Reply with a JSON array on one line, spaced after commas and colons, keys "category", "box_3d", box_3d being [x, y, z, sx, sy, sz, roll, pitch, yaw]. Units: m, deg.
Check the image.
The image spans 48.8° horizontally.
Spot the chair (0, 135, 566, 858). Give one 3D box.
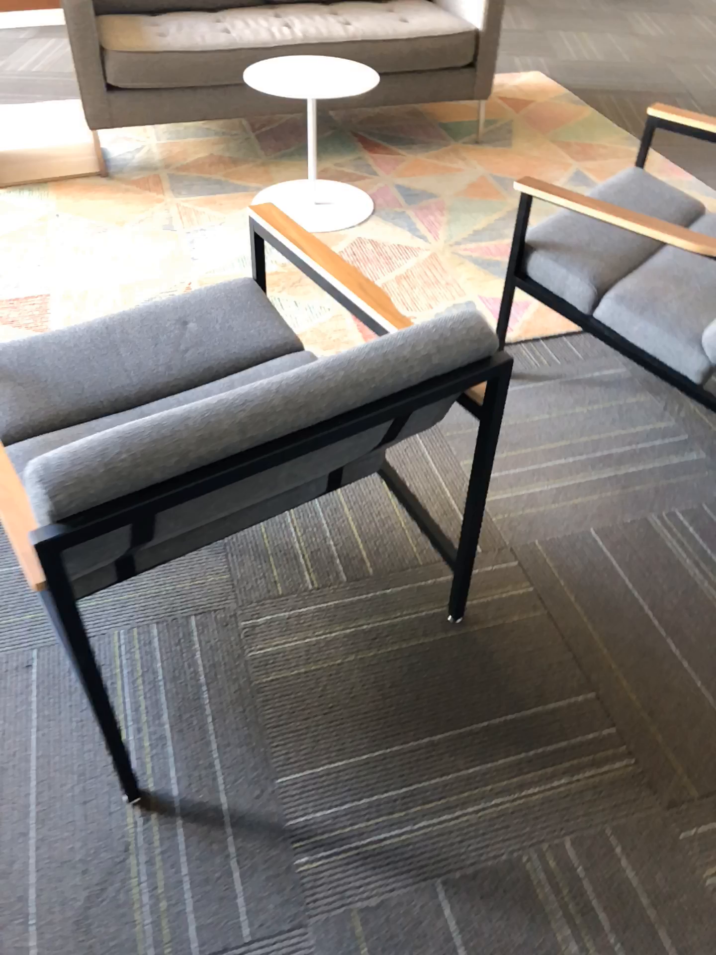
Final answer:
[{"category": "chair", "box_3d": [-0.297, -0.073, 1.451, 0.791, 0.697, 0.924, -24, 46, -26]}]
